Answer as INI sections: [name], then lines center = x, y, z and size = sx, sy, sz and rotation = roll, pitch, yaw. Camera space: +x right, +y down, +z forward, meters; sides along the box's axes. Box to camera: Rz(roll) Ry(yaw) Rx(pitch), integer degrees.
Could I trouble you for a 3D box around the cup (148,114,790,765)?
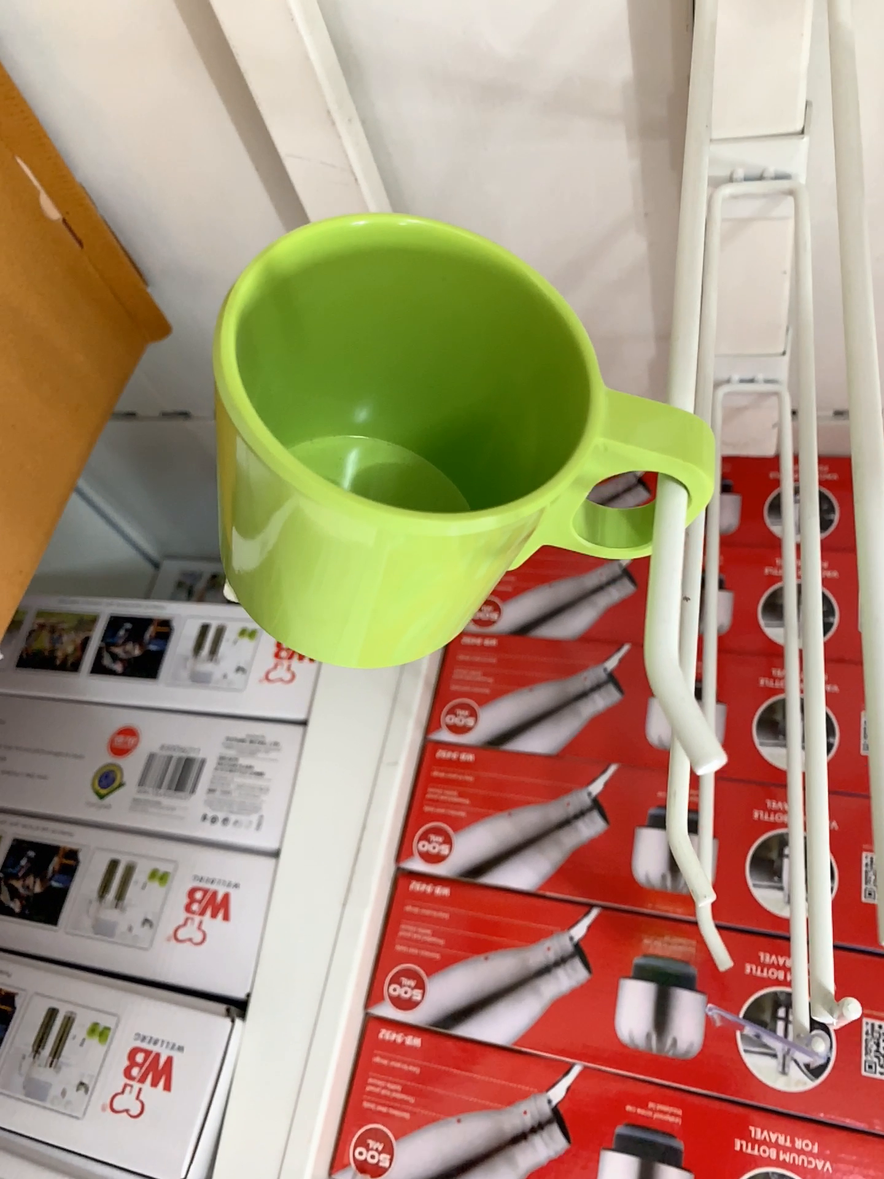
[cup]
center = 0.005, -0.026, 0.210
size = 0.080, 0.110, 0.100
rotation = 117, -19, -63
